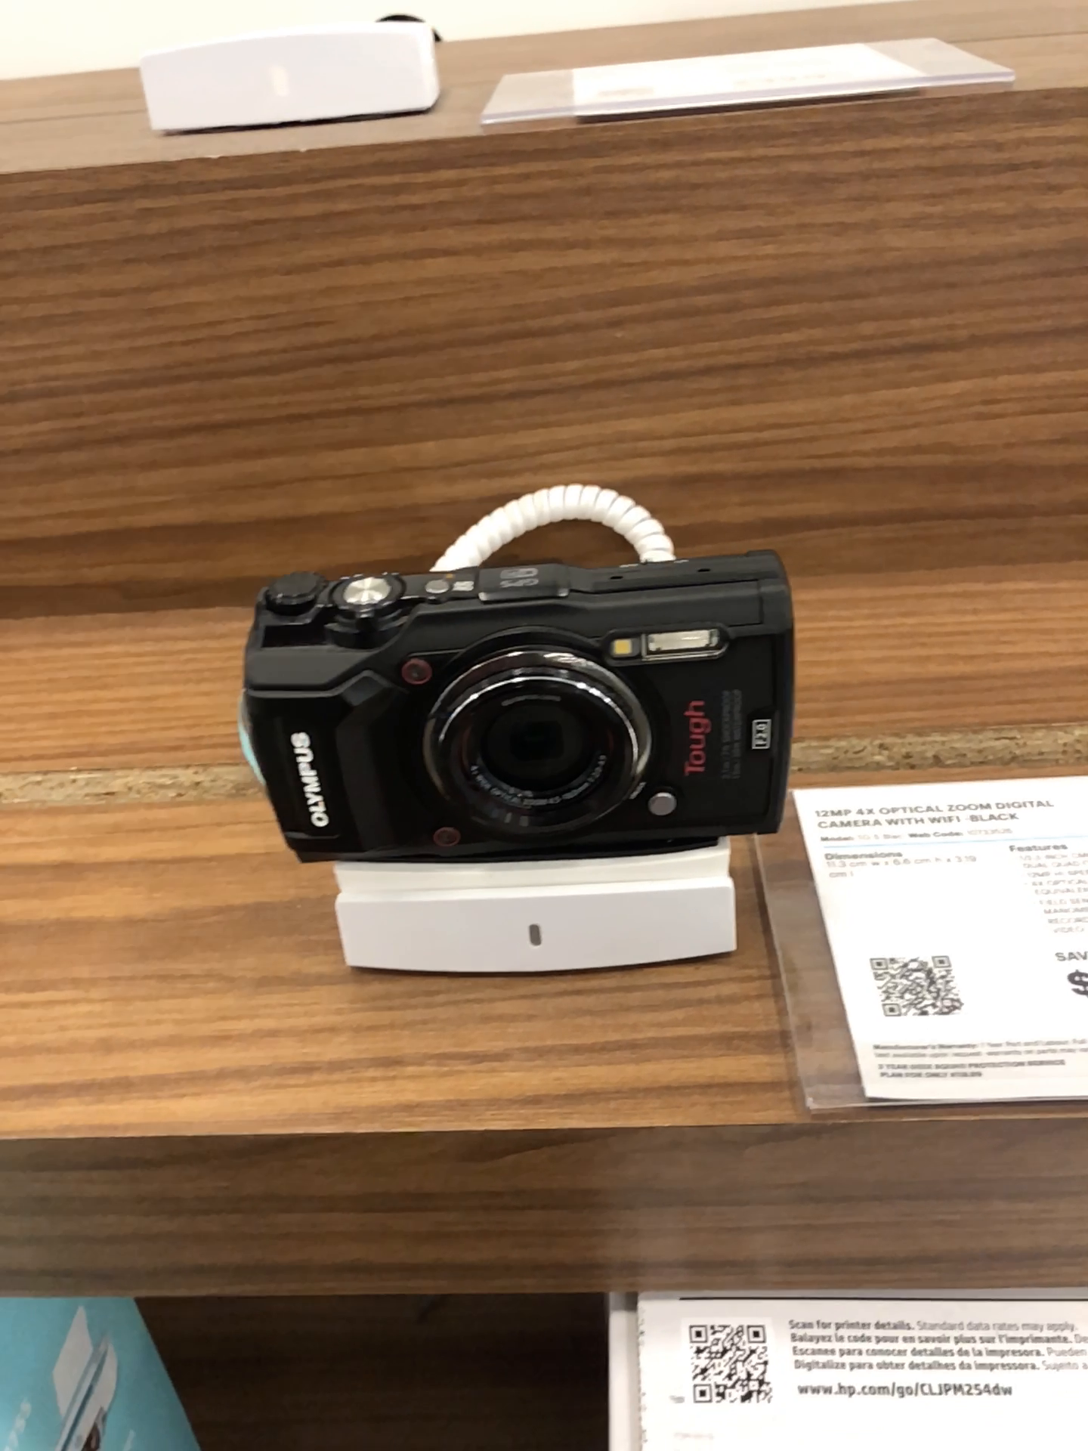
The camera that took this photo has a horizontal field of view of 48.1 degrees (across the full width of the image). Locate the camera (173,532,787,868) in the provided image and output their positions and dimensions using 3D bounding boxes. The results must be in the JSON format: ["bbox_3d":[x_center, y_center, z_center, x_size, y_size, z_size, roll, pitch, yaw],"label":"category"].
[{"bbox_3d":[-0.011,-0.005,0.265,0.120,0.060,0.030,-3,33,4],"label":"camera"}]
